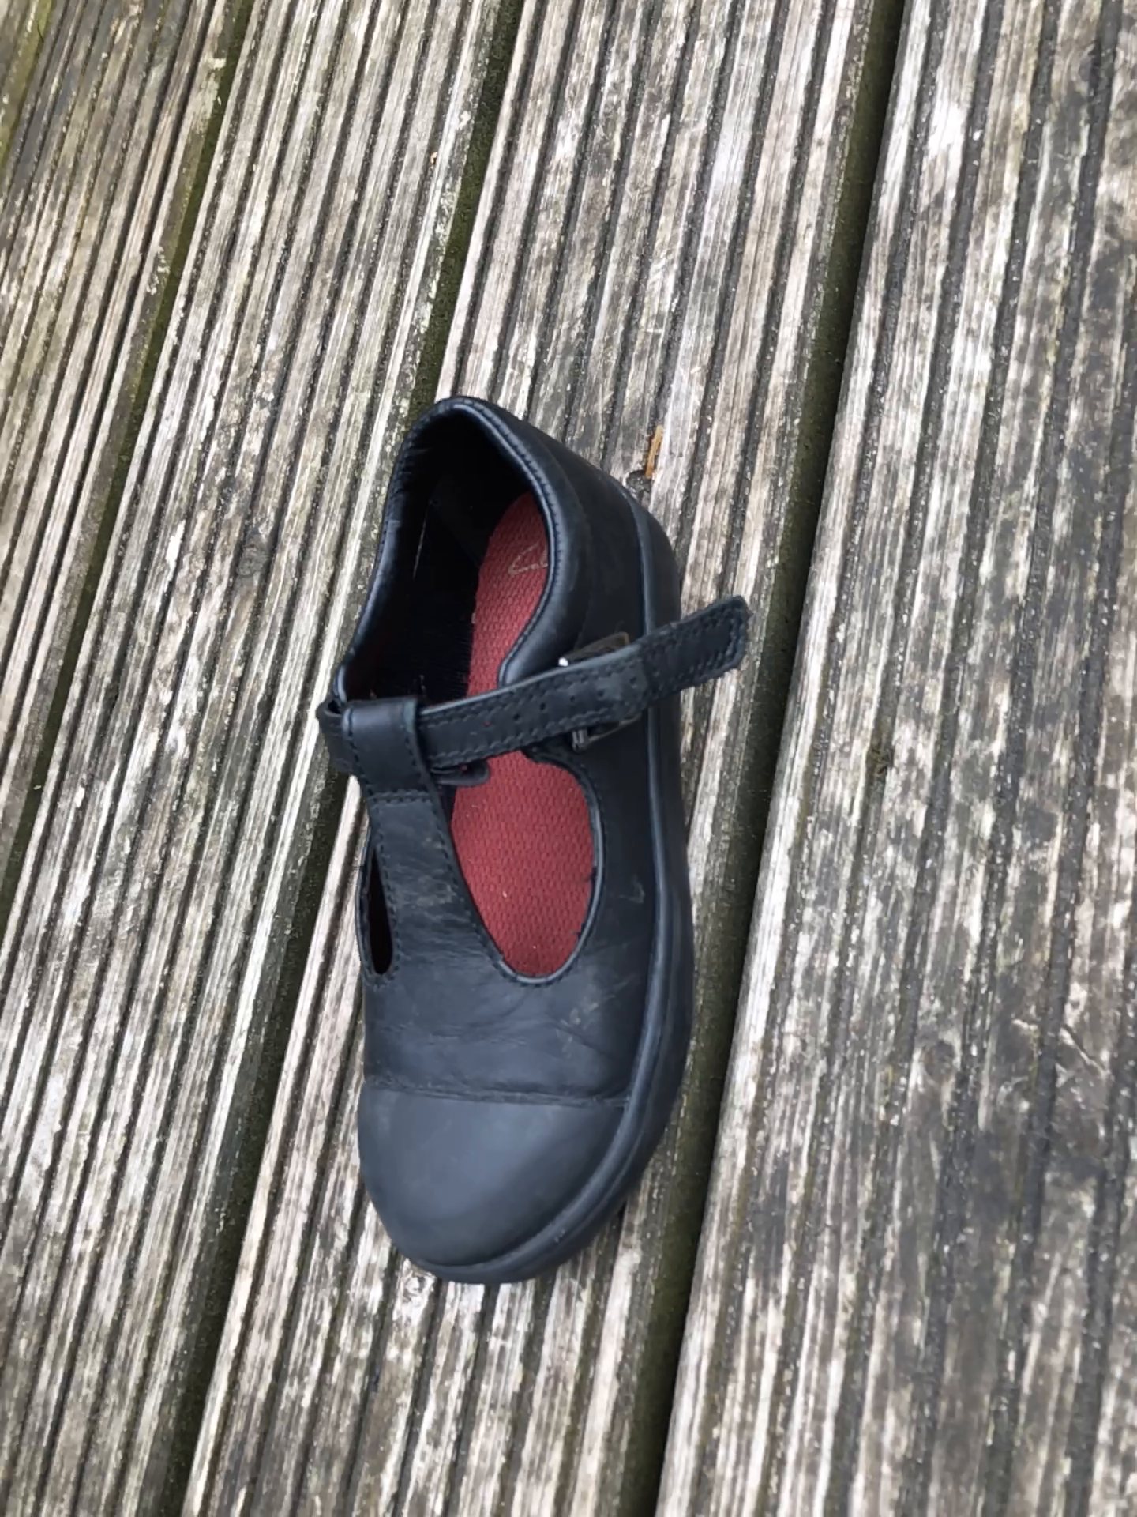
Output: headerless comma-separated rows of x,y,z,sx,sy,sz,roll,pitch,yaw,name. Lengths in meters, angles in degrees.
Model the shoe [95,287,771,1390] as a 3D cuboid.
-0.021,0.014,0.269,0.080,0.080,0.193,3,78,32,shoe
